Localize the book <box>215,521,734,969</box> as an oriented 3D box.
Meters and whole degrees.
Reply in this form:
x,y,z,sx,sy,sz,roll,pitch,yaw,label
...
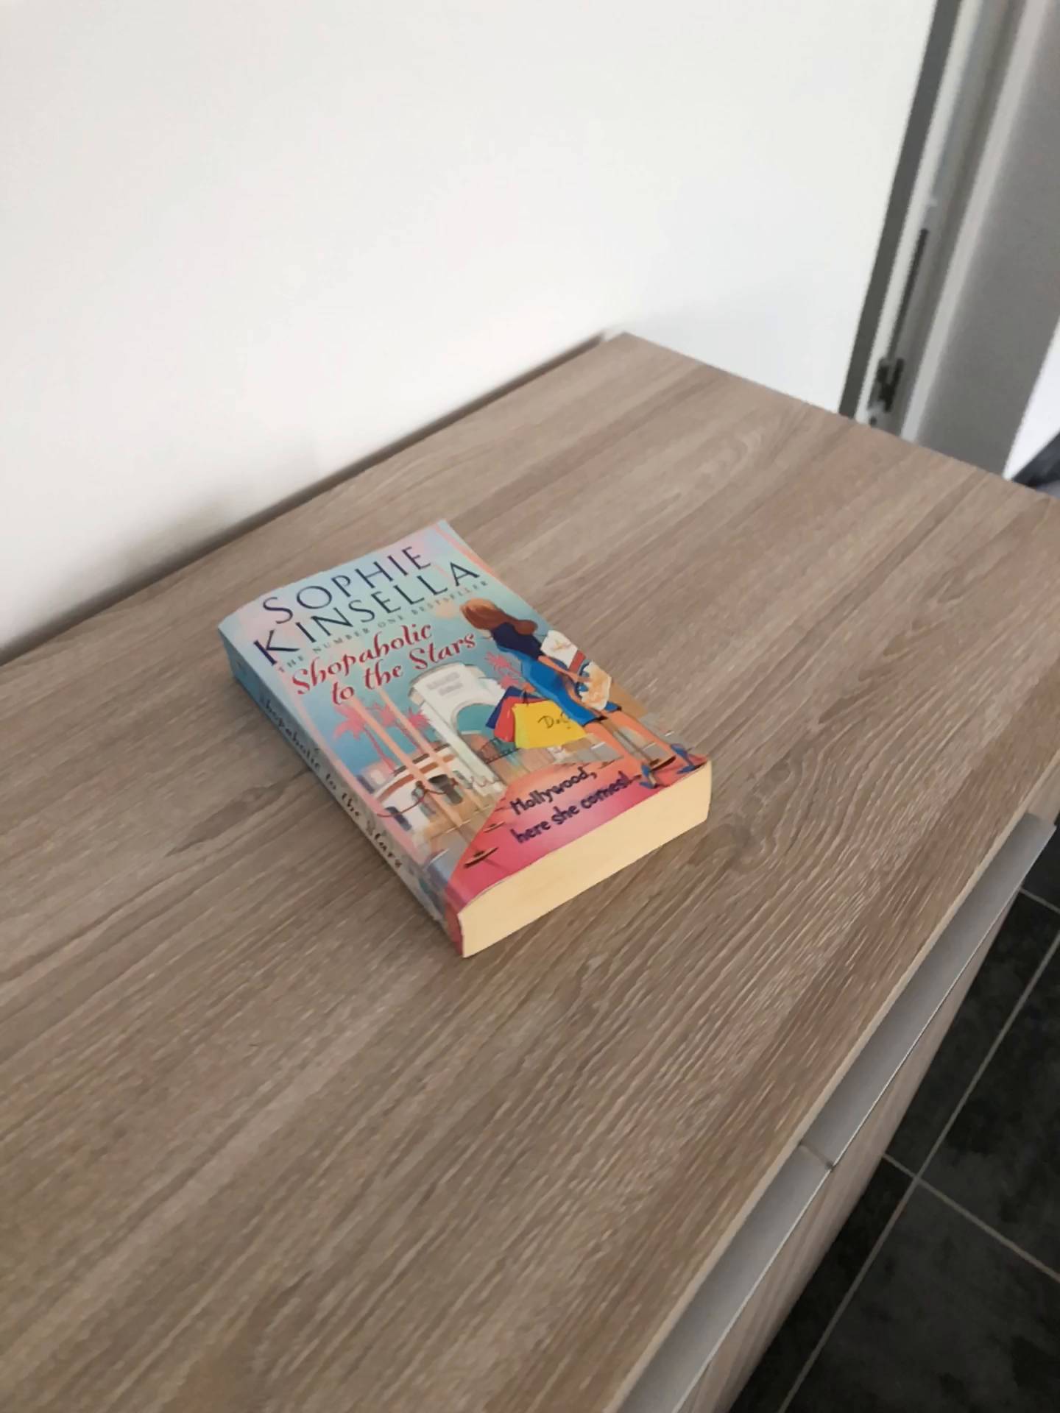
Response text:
x,y,z,sx,sy,sz,roll,pitch,yaw,label
-0.030,0.003,0.512,0.131,0.040,0.200,-25,50,-28,book
